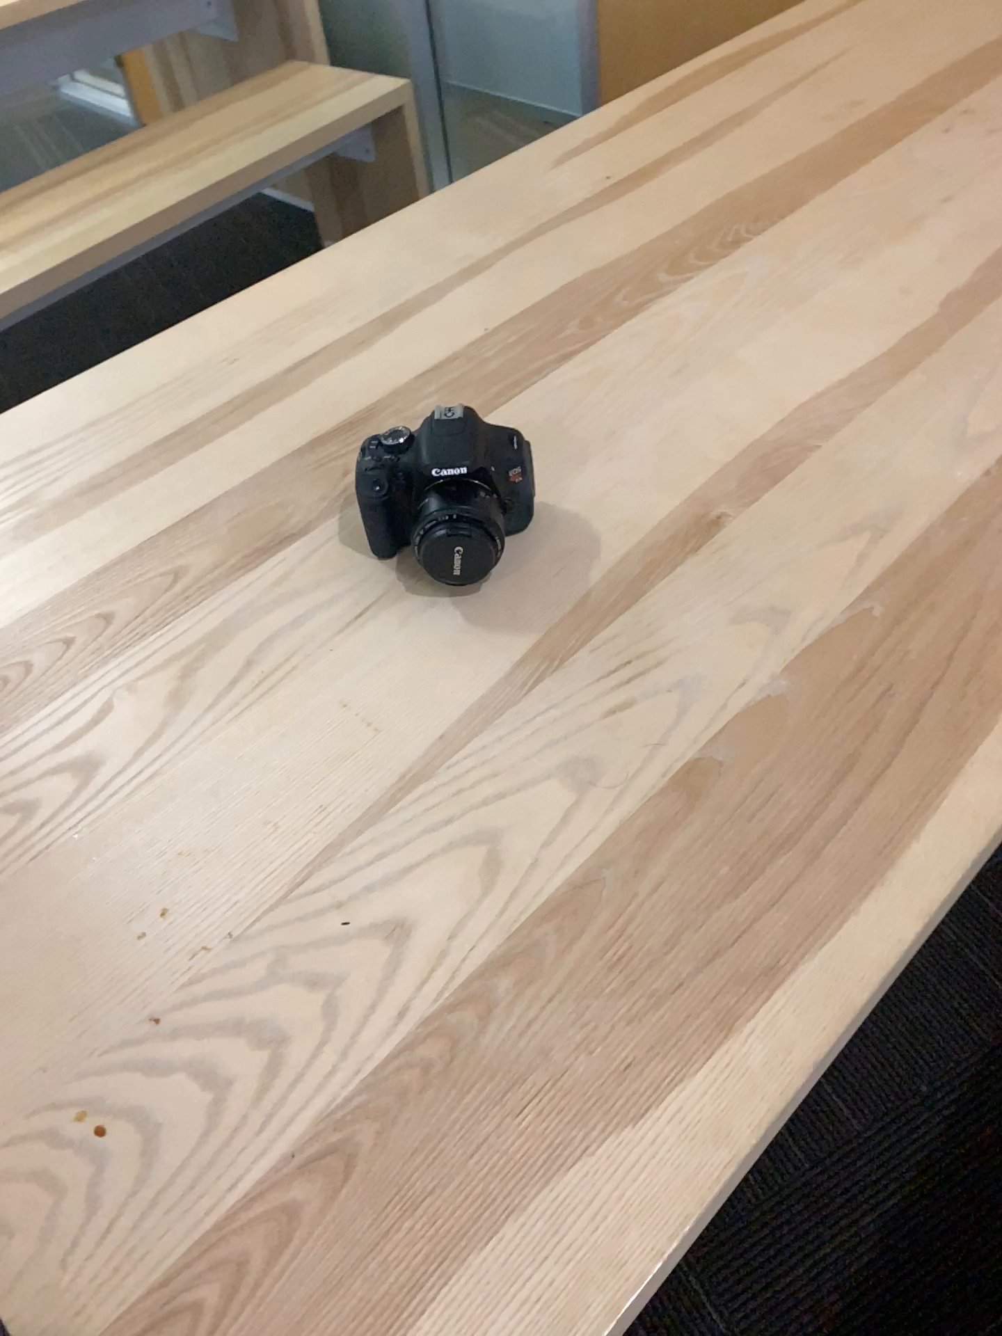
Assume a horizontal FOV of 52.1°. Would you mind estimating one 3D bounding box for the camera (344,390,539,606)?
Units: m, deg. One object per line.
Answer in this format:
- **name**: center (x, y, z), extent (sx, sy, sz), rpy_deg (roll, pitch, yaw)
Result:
- **camera**: center (-0.041, -0.128, 0.767), extent (0.127, 0.089, 0.127), rpy_deg (-5, 47, 4)
